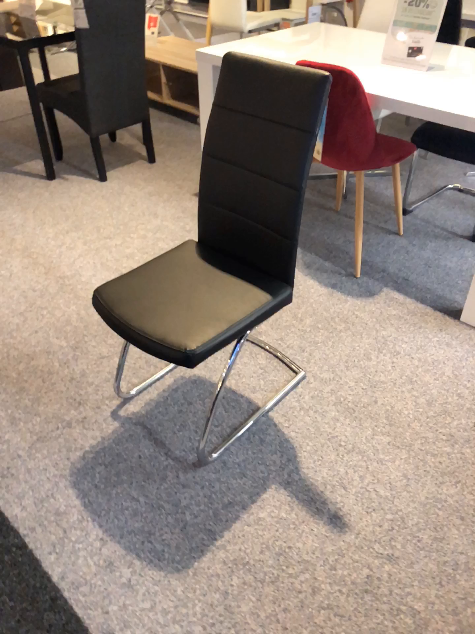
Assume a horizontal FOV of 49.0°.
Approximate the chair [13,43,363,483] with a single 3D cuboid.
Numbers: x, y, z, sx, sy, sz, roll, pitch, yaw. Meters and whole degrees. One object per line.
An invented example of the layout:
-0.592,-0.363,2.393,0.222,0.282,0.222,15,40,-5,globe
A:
-0.091,-0.150,1.390,0.490,0.905,0.563,29,47,32,chair
